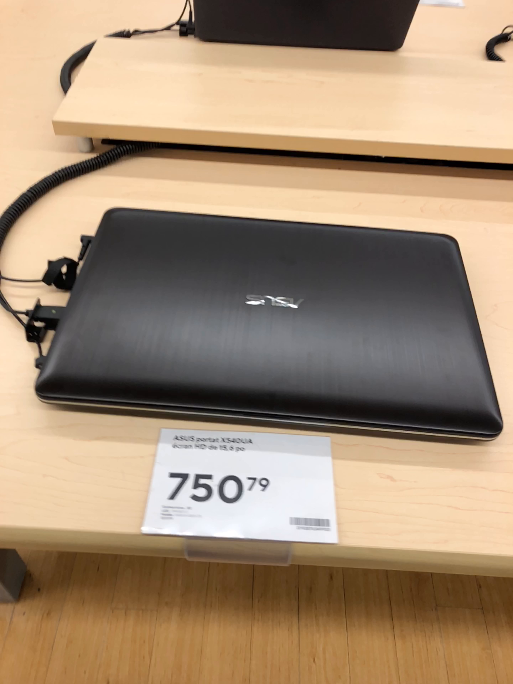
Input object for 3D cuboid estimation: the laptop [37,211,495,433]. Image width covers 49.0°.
[{"bbox_3d":[0.016,-0.033,0.528,0.369,0.010,0.228,5,51,1],"label":"laptop"}]
